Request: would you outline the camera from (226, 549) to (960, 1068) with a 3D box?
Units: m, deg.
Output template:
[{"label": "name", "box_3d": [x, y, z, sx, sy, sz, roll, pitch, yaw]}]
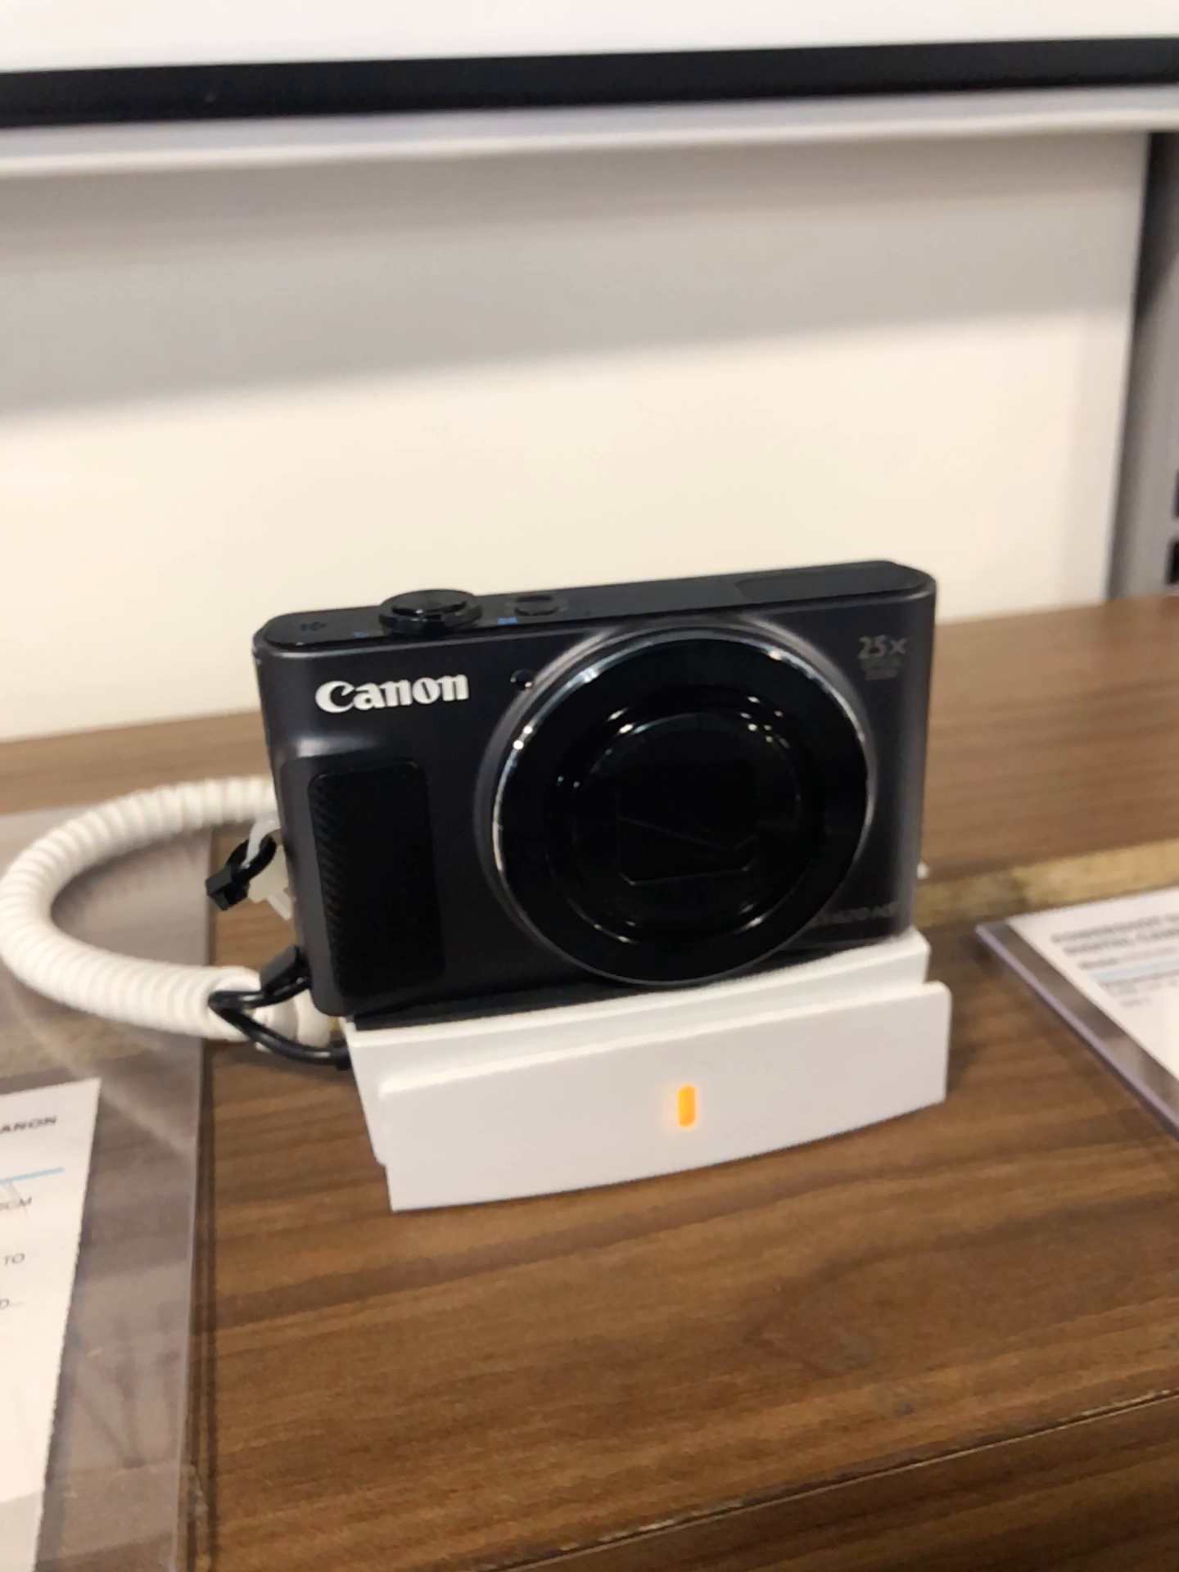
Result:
[{"label": "camera", "box_3d": [0.001, 0.001, 0.202, 0.100, 0.060, 0.030, -7, 22, -10]}]
